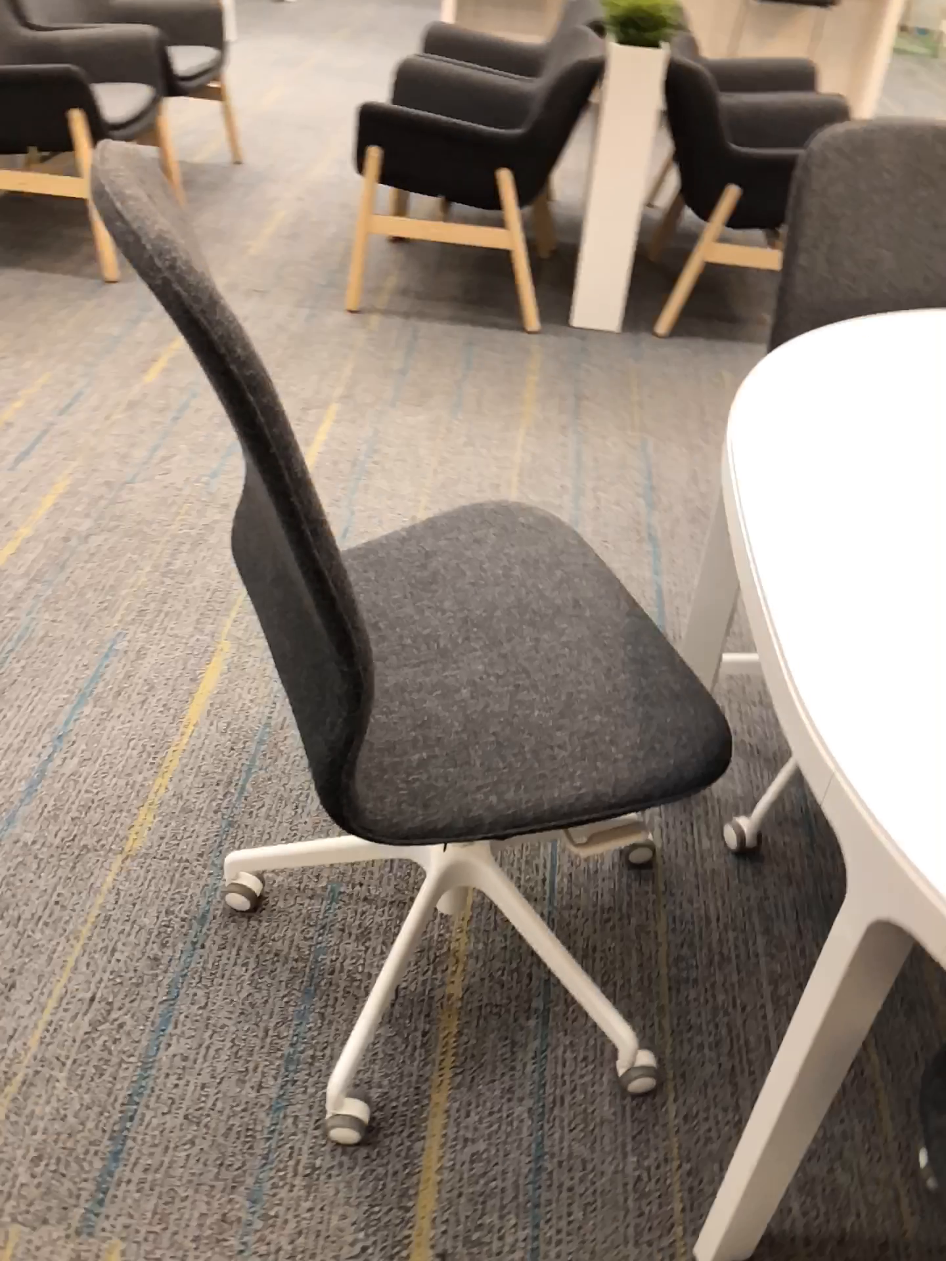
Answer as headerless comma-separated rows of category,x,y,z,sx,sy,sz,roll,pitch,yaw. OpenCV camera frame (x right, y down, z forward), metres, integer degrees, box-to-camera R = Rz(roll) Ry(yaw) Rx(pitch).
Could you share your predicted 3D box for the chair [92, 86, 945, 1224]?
chair,0.001,0.021,1.143,0.630,0.993,0.634,-8,40,-17
